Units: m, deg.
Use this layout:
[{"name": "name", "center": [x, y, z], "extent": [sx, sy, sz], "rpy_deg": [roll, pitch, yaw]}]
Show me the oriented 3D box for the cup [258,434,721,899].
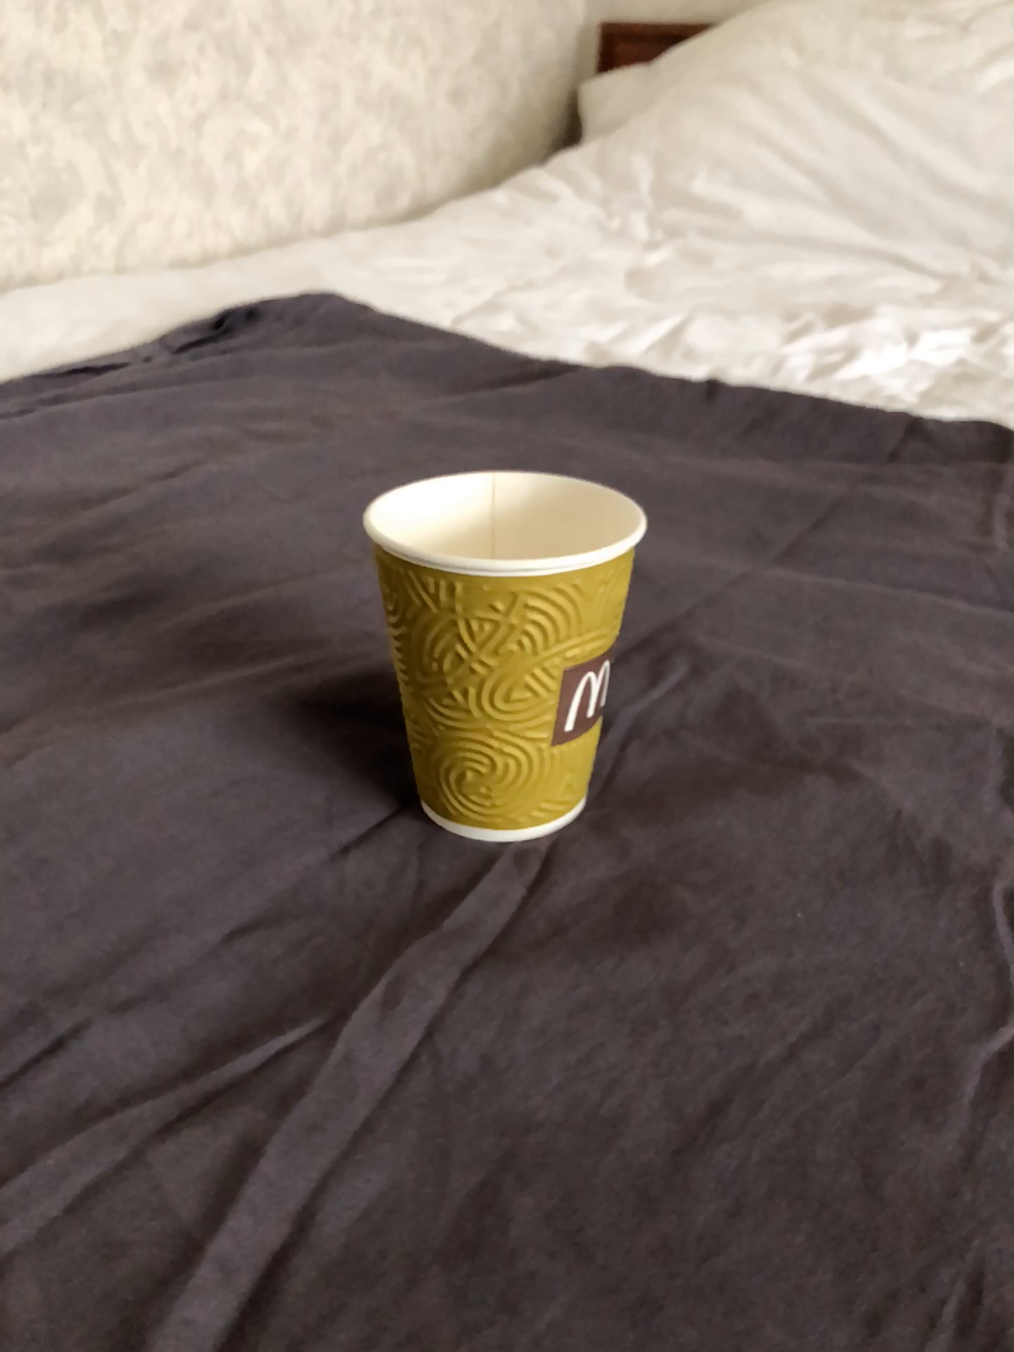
[{"name": "cup", "center": [-0.005, -0.012, 0.374], "extent": [0.098, 0.101, 0.108], "rpy_deg": [0, 26, 0]}]
